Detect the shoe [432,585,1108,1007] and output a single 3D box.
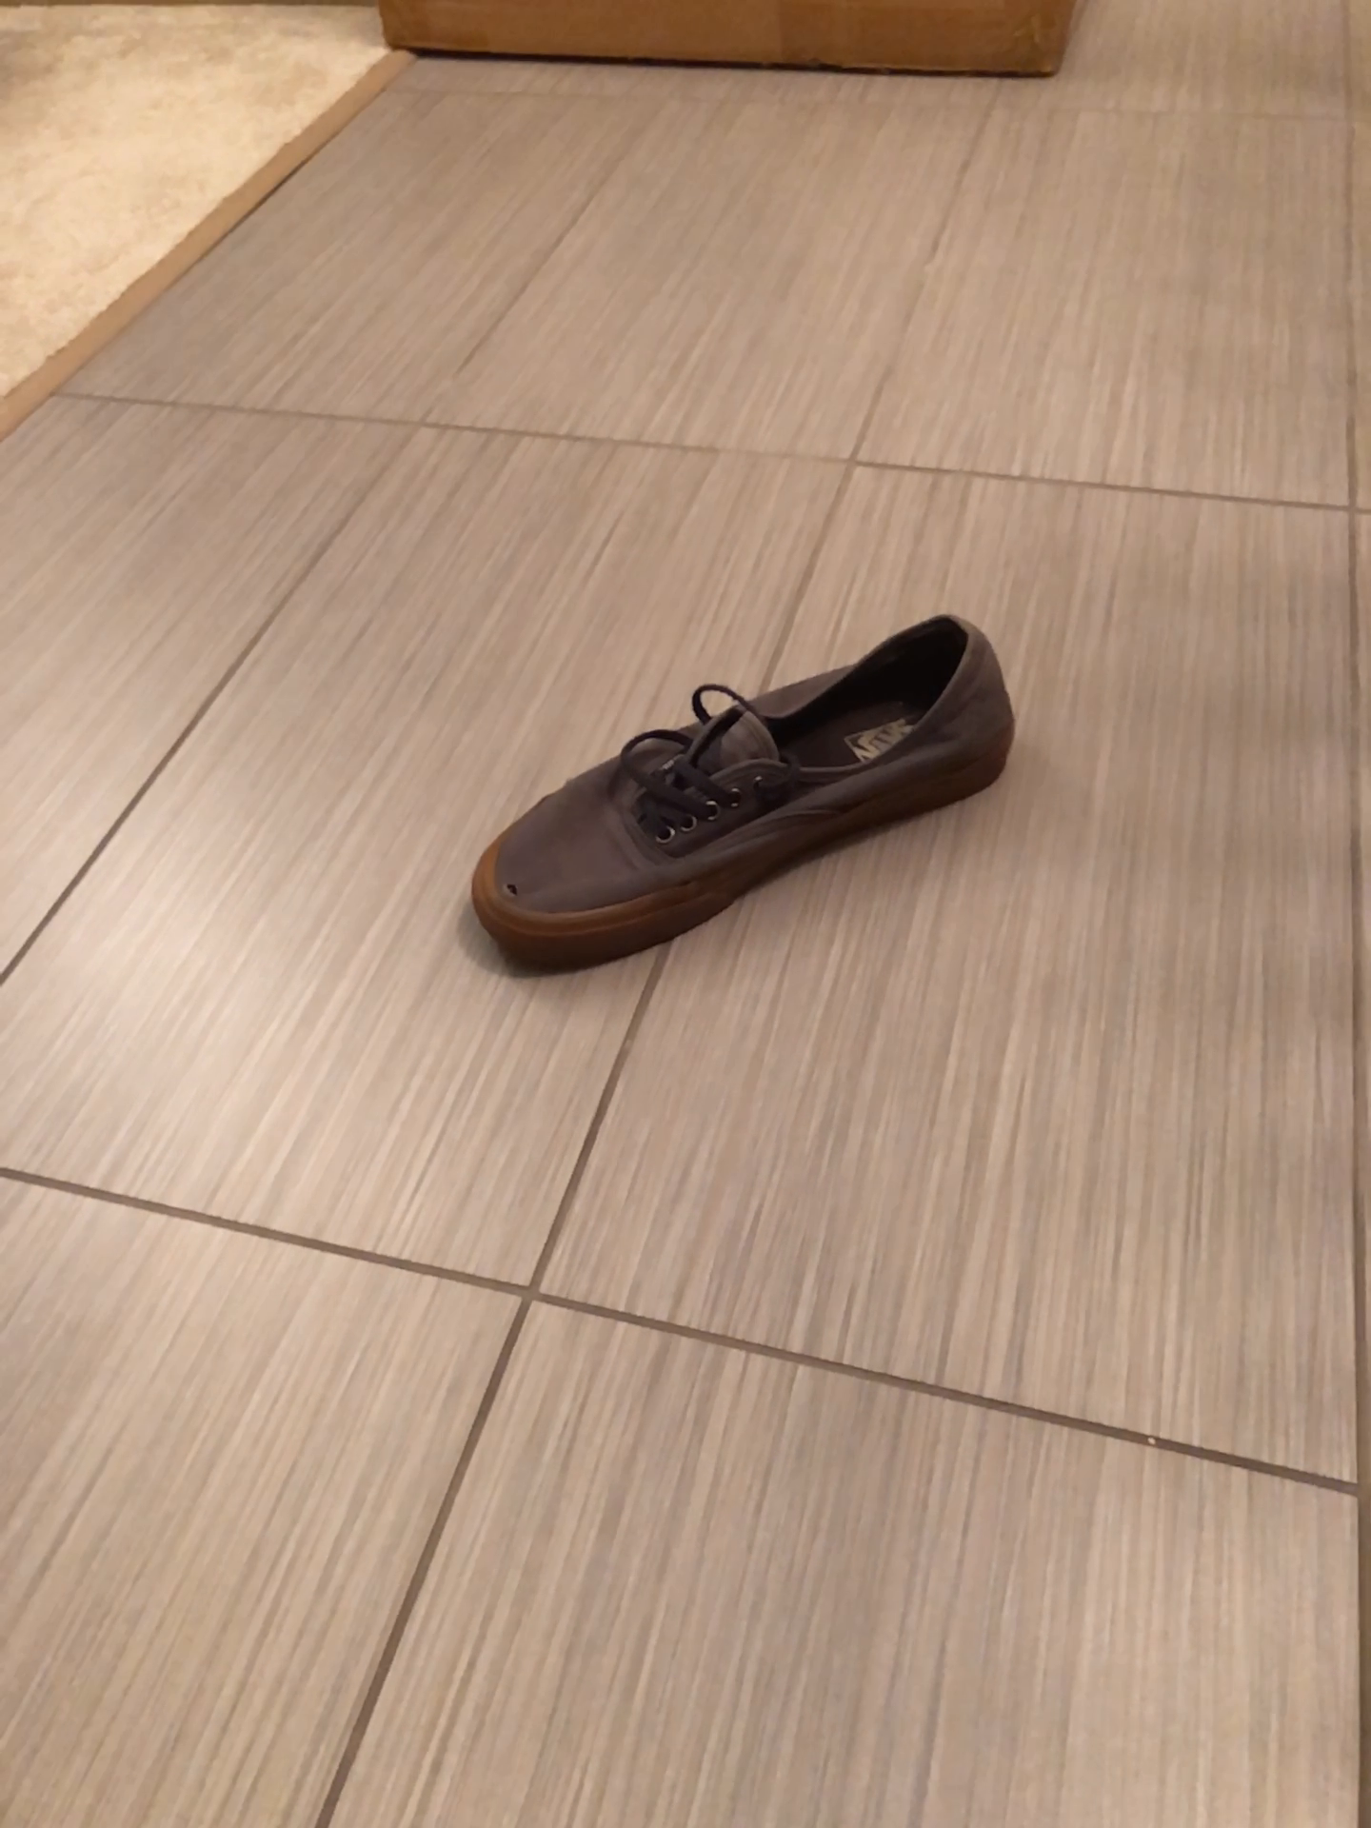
[{"bbox_3d":[0.040,-0.063,0.711,0.290,0.060,0.110,-19,48,-13],"label":"shoe"}]
